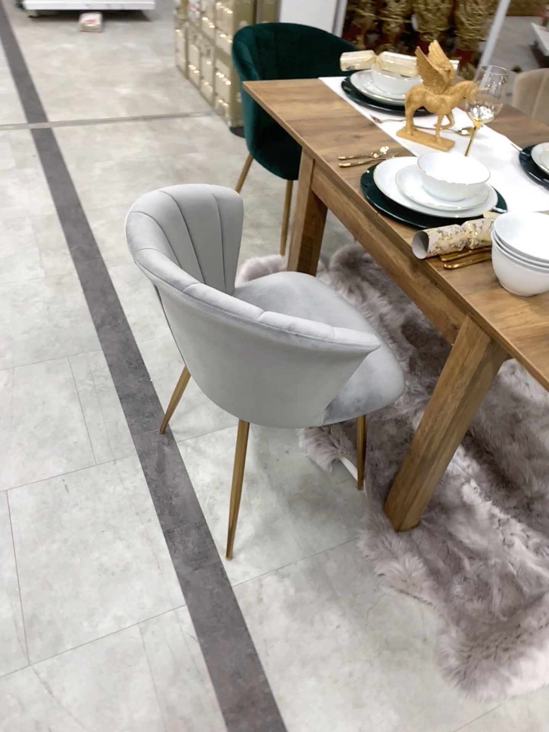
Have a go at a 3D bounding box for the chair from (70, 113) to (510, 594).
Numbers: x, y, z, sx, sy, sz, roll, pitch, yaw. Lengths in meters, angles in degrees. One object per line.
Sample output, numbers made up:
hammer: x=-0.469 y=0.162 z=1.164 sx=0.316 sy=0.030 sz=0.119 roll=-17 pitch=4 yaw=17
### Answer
chair: x=-0.039 y=-0.053 z=1.241 sx=0.551 sy=0.709 sz=0.635 roll=-17 pitch=49 yaw=-23
